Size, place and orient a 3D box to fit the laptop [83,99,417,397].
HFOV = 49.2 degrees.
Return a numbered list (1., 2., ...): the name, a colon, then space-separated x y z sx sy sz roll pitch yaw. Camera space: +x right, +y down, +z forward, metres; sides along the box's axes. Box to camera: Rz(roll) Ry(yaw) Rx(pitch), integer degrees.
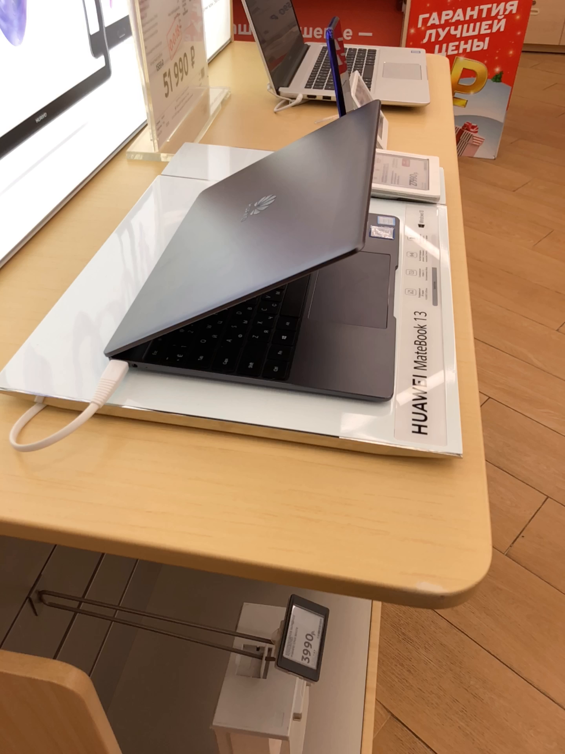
1. laptop: -0.003 -0.125 0.508 0.203 0.106 0.273 7 40 5
